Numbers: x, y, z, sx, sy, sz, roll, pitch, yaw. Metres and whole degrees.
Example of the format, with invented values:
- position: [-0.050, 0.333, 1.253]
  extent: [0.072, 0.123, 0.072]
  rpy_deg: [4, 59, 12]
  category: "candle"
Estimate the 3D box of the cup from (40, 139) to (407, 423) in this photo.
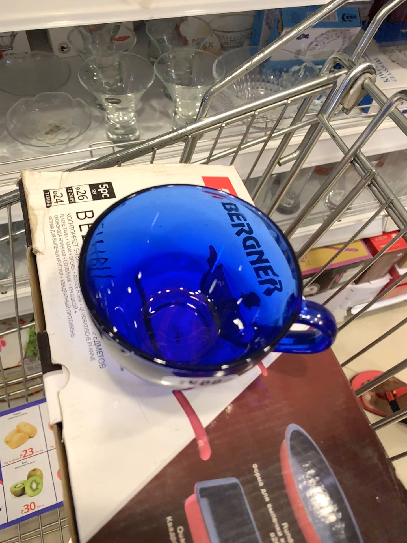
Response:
- position: [0.010, 0.003, 0.166]
  extent: [0.110, 0.050, 0.080]
  rpy_deg: [10, 56, 2]
  category: "cup"
